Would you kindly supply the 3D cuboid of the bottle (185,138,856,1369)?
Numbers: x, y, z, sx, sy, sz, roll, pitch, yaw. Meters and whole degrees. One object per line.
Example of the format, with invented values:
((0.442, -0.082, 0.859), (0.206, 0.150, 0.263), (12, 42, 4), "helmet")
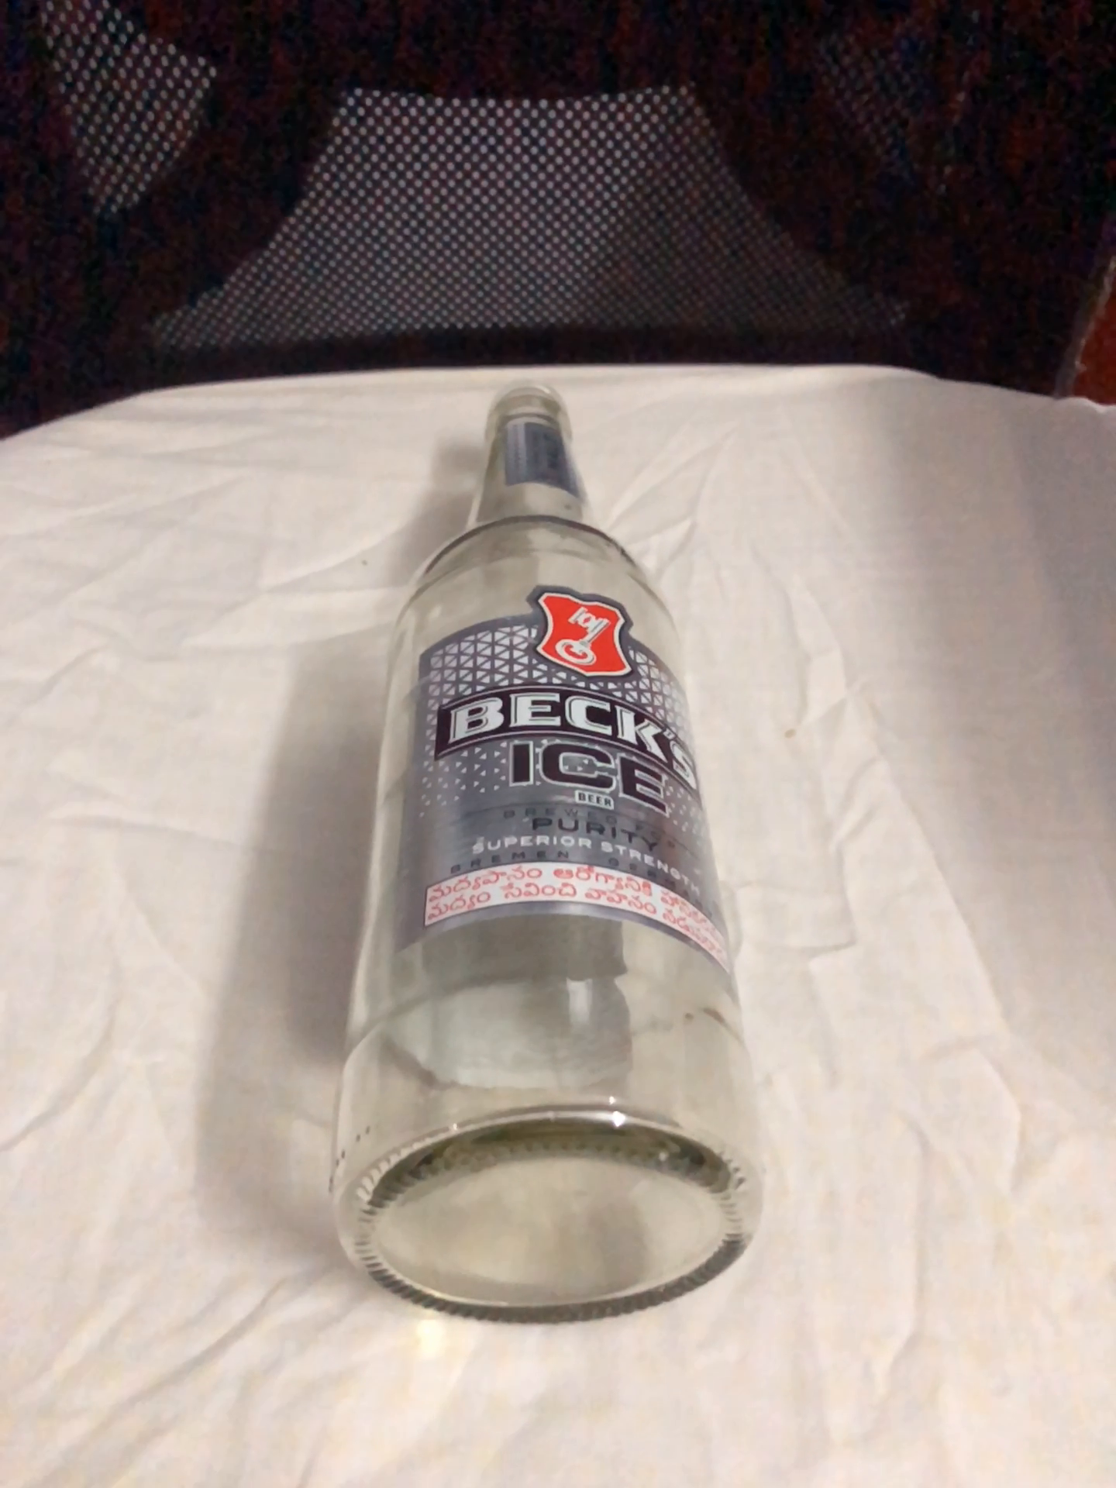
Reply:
((-0.010, -0.029, 0.270), (0.080, 0.080, 0.281), (-2, 49, -2), "bottle")
